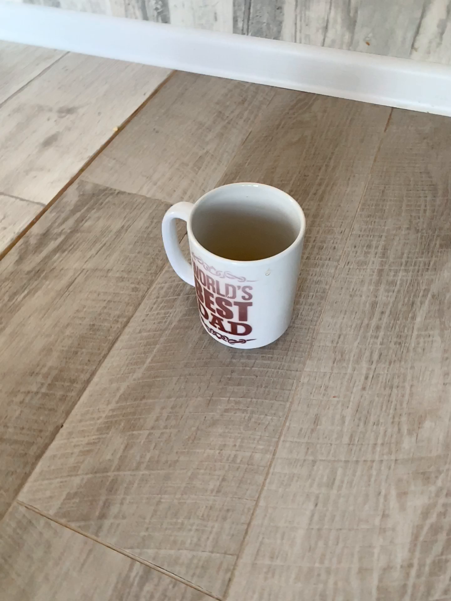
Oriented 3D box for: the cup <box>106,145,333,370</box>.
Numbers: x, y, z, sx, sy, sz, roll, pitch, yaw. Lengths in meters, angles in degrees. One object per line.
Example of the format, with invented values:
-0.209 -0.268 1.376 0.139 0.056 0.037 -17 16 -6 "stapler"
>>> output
-0.003 -0.033 0.354 0.130 0.110 0.080 23 56 19 "cup"
